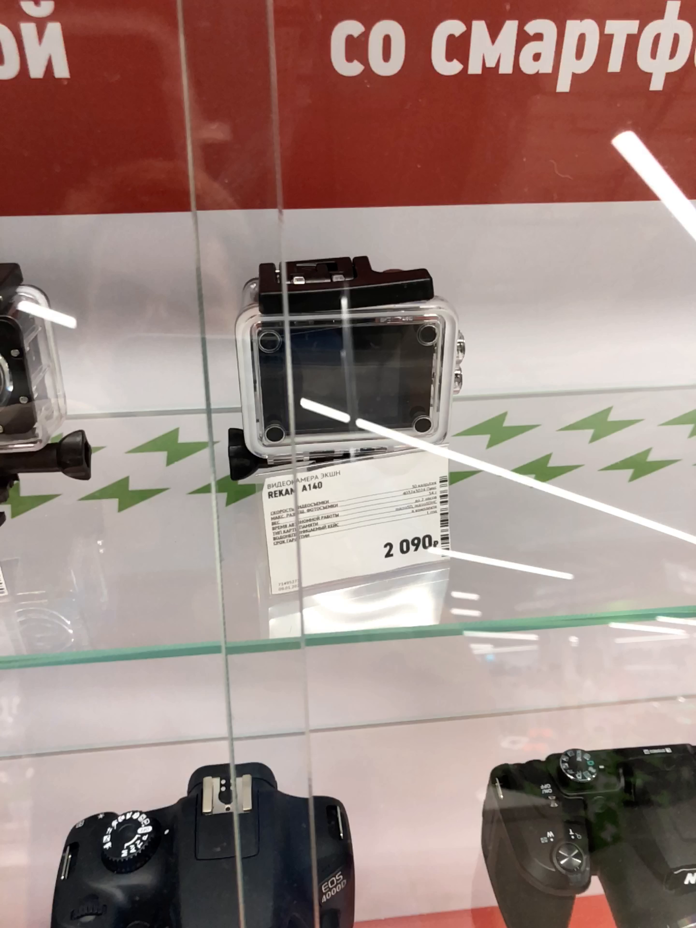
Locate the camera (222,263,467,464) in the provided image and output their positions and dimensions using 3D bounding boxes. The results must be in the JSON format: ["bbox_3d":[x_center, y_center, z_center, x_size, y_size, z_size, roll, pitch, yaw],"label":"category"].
[{"bbox_3d":[-0.003,-0.036,0.267,0.075,0.053,0.040,-4,32,-6],"label":"camera"}]
